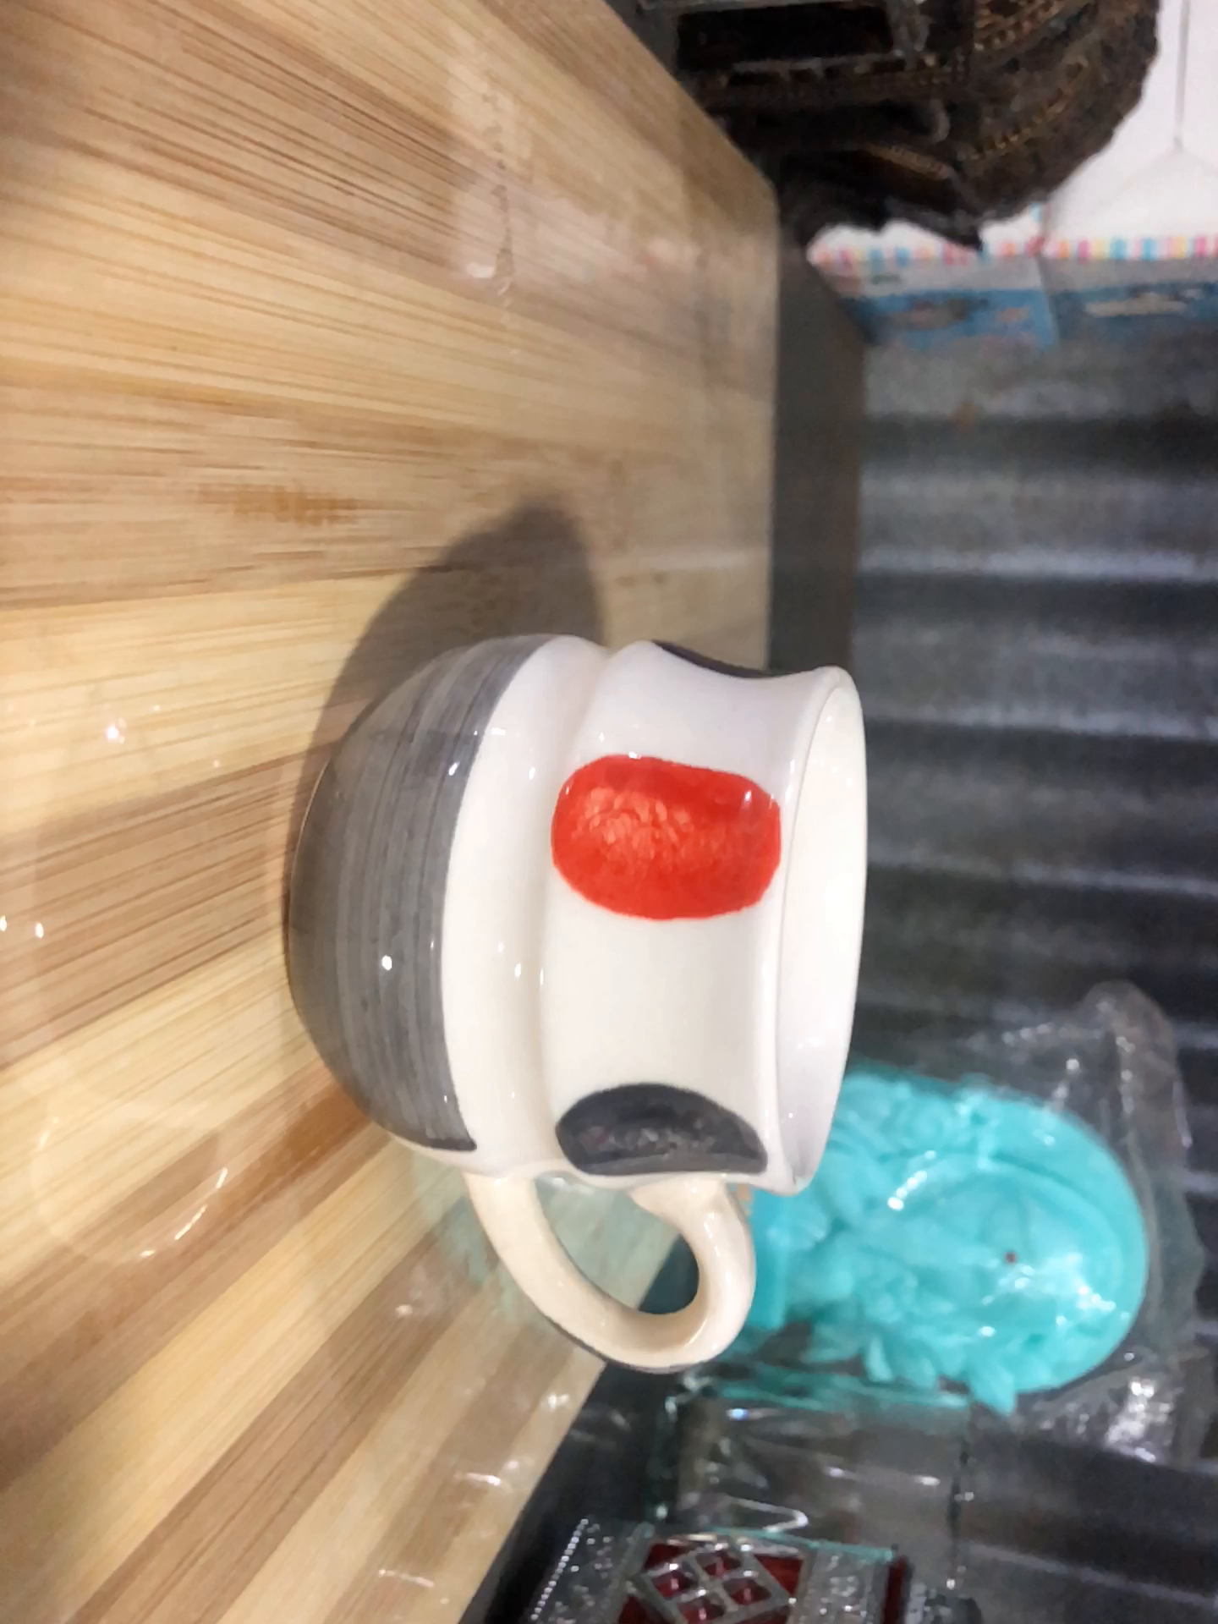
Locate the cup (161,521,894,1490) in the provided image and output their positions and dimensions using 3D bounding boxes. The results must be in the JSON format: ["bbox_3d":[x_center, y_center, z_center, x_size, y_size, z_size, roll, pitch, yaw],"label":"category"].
[{"bbox_3d":[-0.001,0.018,0.164,0.060,0.060,0.090,-56,146,-59],"label":"cup"}]
